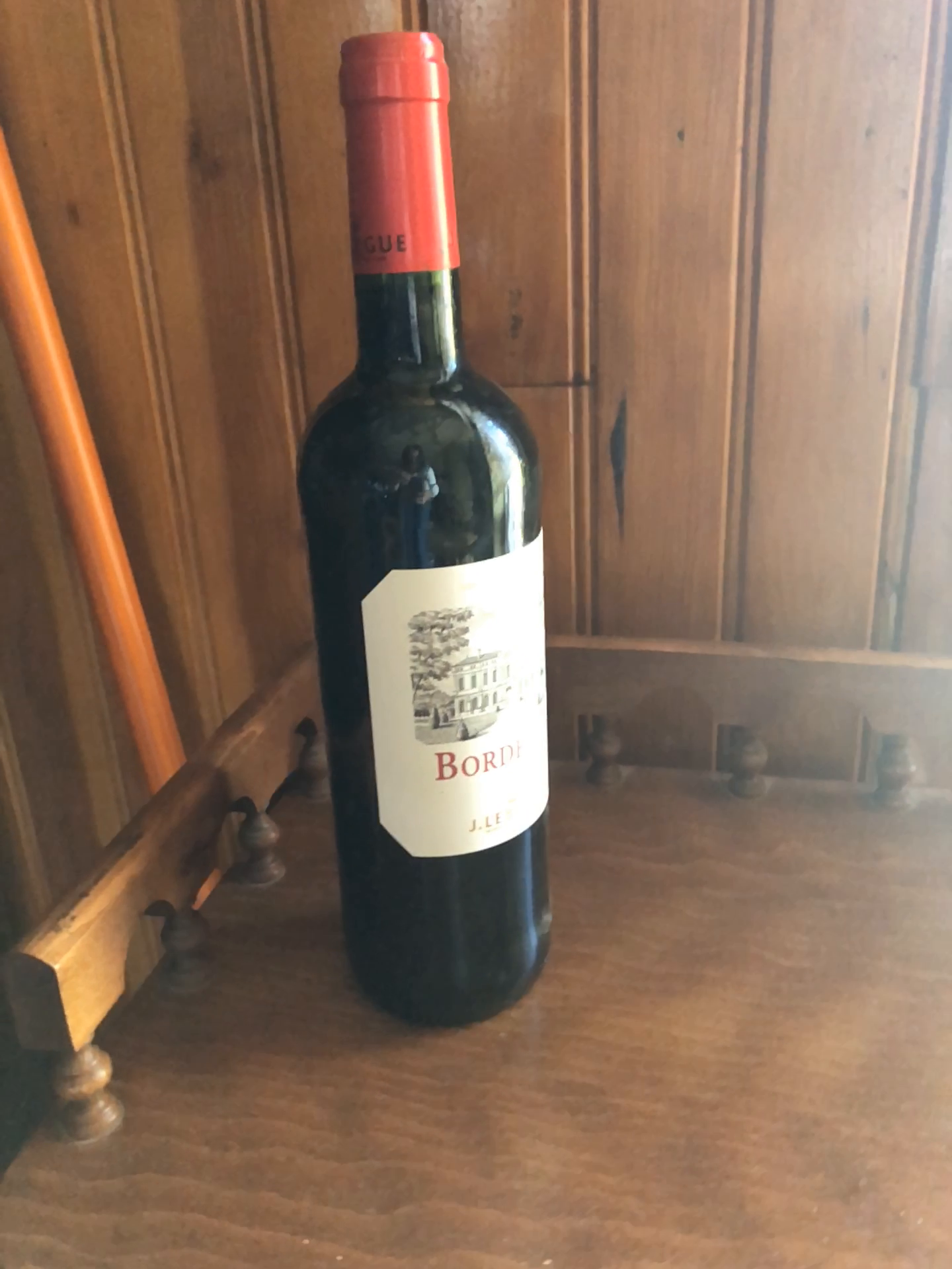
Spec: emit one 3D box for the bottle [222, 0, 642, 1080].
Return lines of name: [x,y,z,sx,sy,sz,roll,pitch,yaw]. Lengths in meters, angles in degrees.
bottle: [-0.008,-0.018,0.338,0.080,0.308,0.080,-2,22,1]
